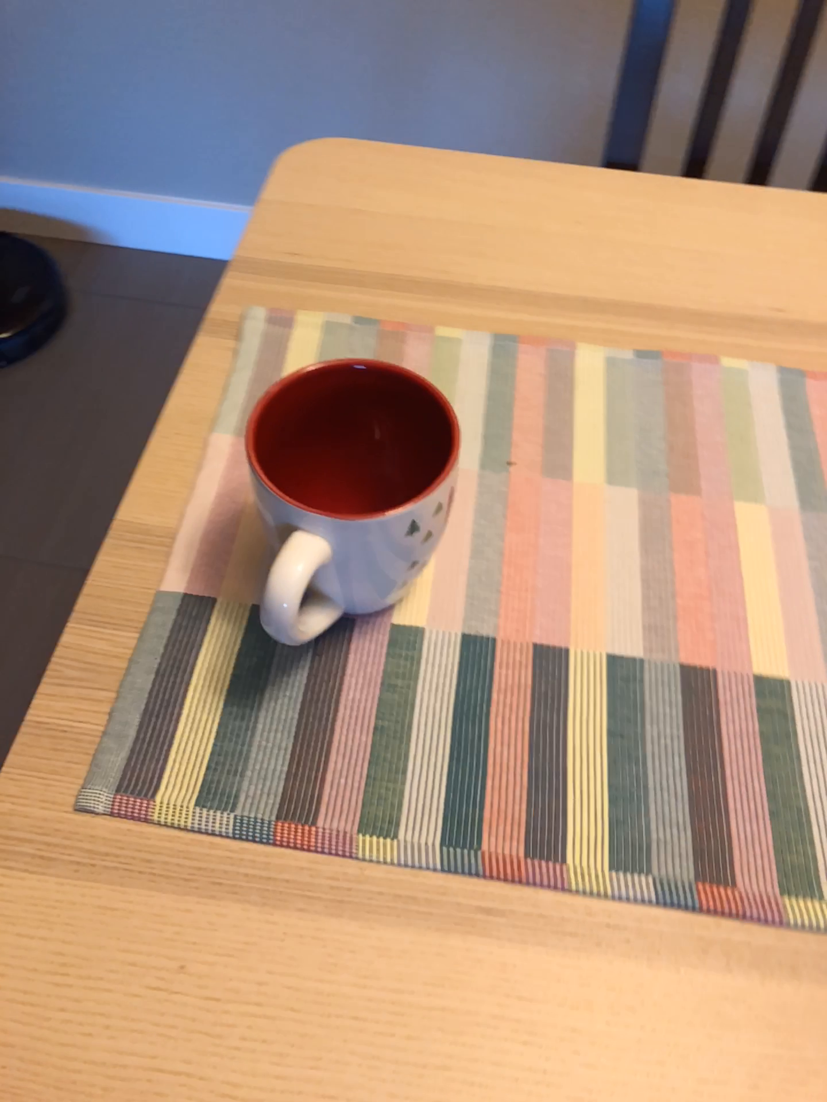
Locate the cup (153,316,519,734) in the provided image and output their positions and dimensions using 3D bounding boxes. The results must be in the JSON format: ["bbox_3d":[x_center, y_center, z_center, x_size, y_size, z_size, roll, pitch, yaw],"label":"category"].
[{"bbox_3d":[-0.027,-0.015,0.412,0.100,0.090,0.140,19,54,12],"label":"cup"}]
